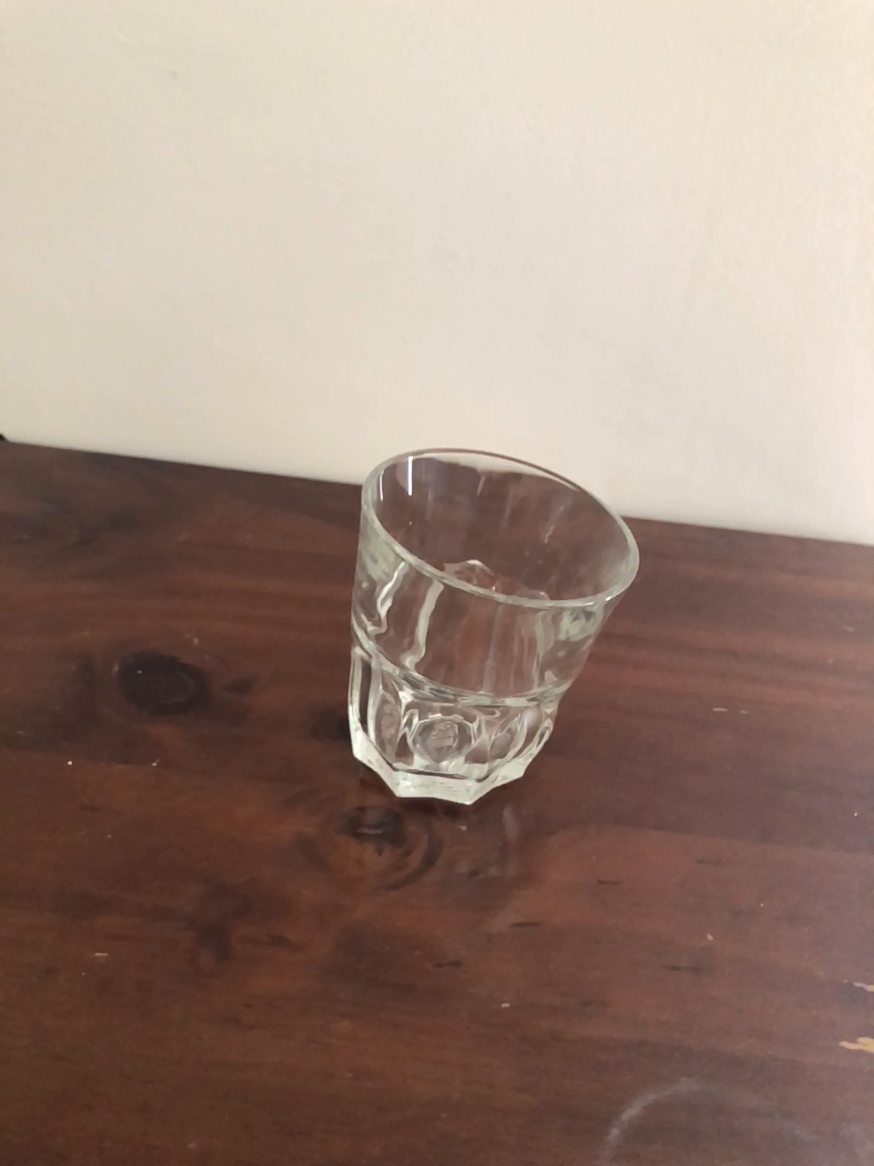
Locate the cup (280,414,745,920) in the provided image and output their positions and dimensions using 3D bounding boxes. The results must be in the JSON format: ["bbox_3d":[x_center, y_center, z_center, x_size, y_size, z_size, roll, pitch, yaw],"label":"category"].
[{"bbox_3d":[0.020,0.017,0.301,0.100,0.095,0.091,24,34,27],"label":"cup"}]
